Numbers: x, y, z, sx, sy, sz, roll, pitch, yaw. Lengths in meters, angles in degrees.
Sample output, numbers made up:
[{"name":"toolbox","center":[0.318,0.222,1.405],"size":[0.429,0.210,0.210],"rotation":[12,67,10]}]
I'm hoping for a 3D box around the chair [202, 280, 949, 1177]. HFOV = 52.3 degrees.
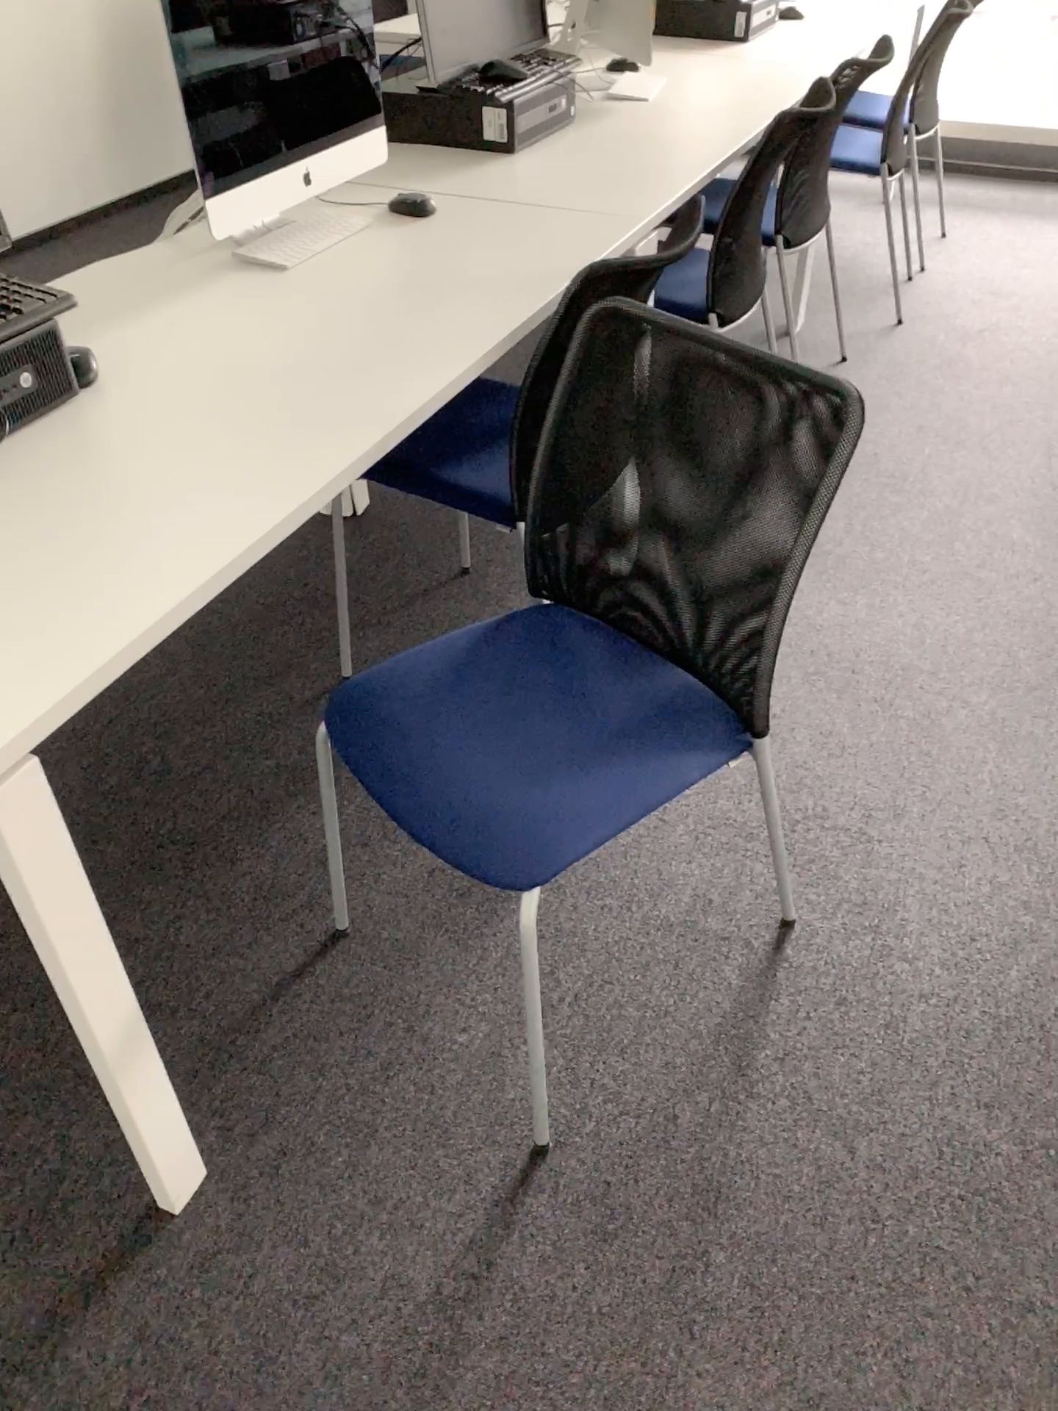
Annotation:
[{"name":"chair","center":[0.051,0.020,1.450],"size":[0.602,0.895,0.541],"rotation":[-30,48,-31]}]
